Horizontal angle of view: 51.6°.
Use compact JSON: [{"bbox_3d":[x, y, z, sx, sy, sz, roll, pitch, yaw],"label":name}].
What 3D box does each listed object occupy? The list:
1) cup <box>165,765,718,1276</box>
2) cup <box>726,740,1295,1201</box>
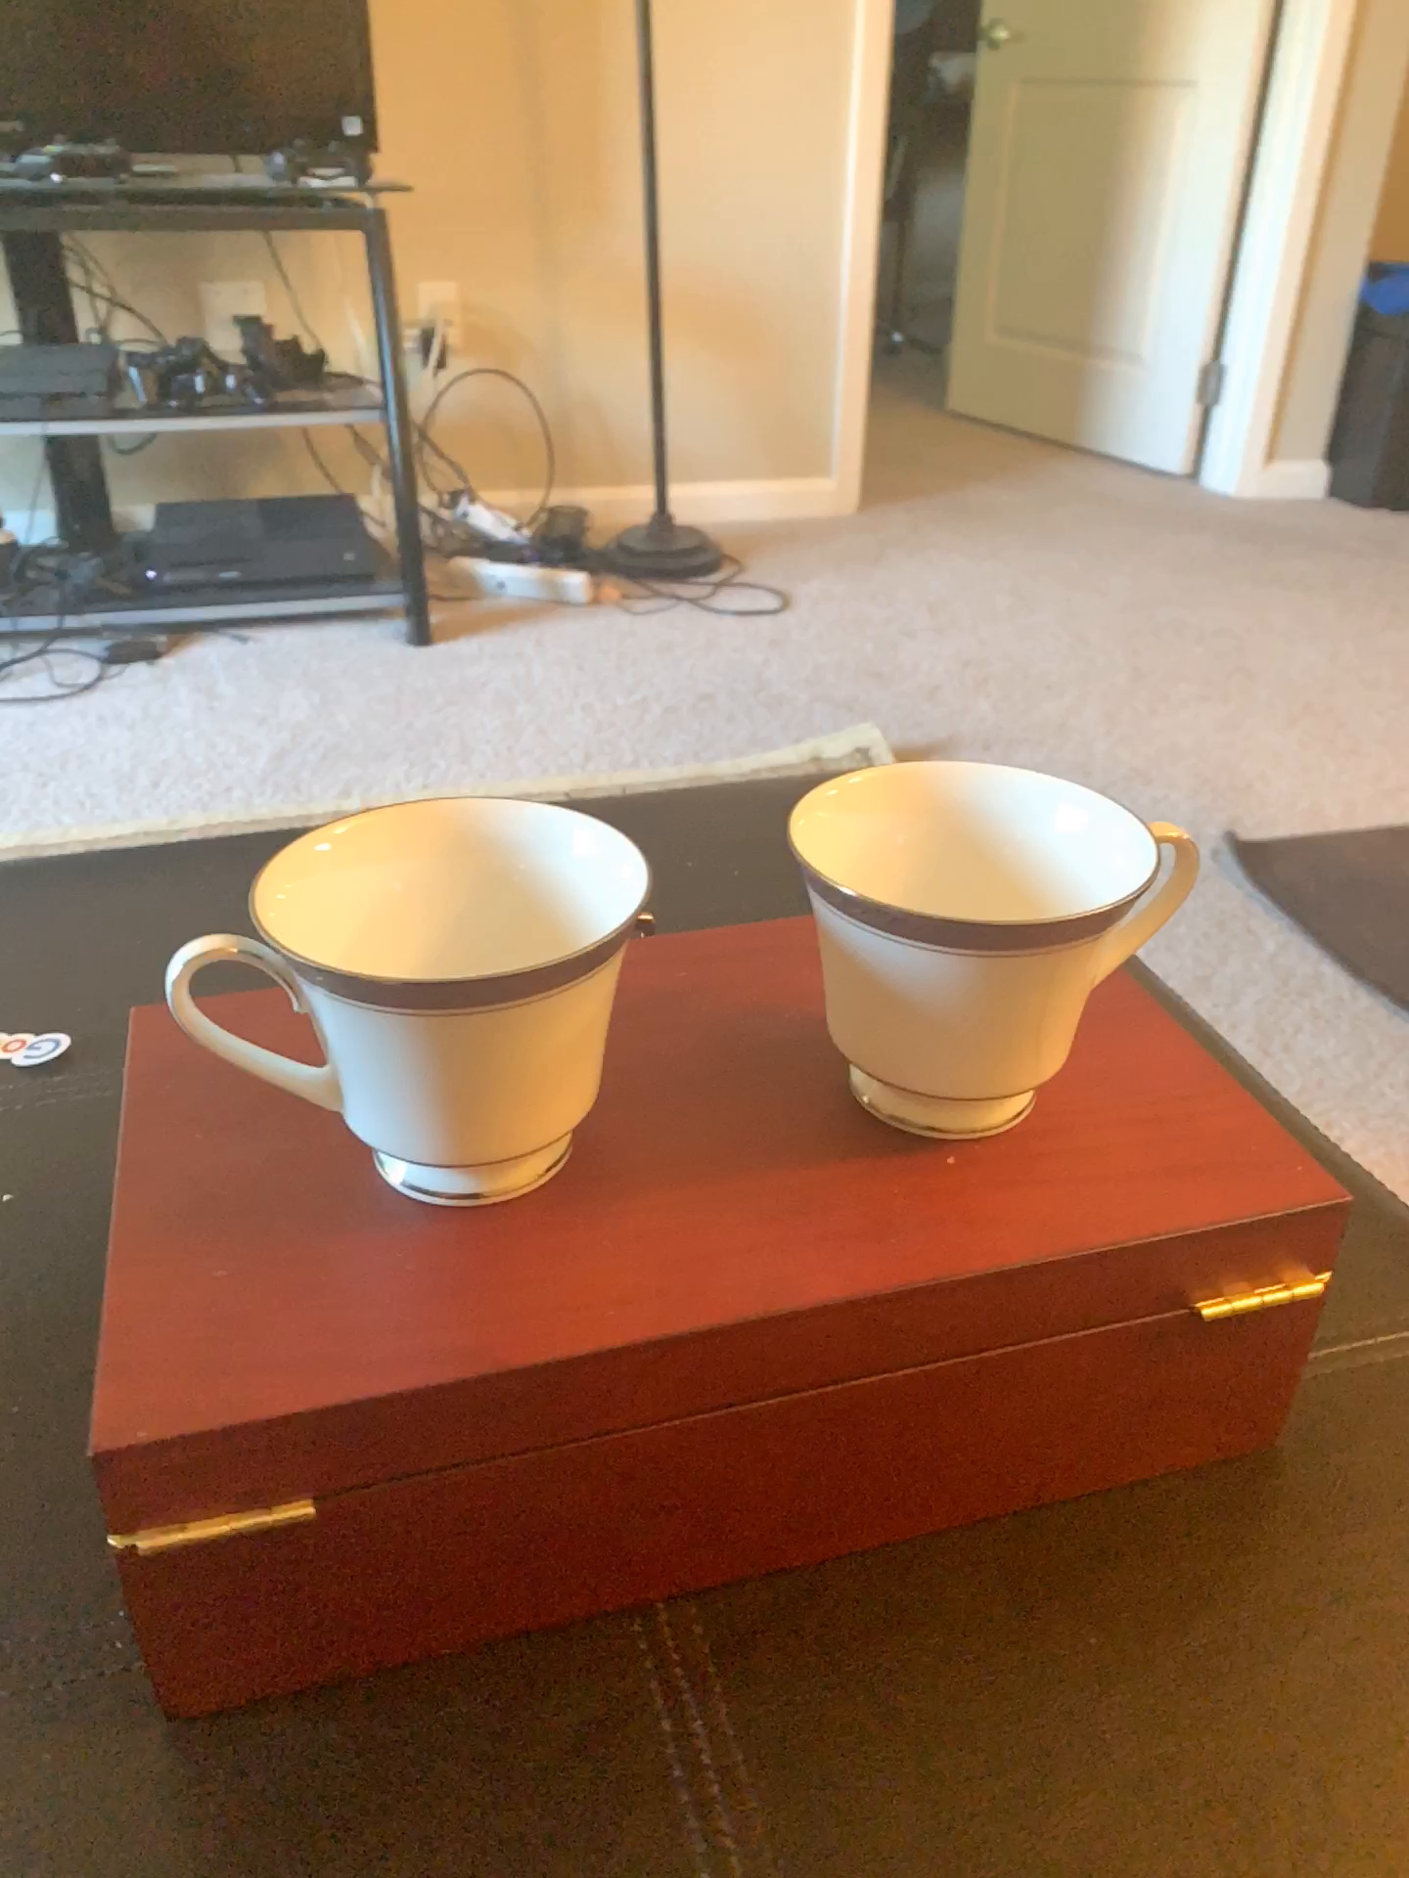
[{"bbox_3d":[-0.062,0.014,0.347,0.110,0.070,0.091,-7,31,-13],"label":"cup"},{"bbox_3d":[0.071,0.003,0.379,0.110,0.070,0.091,-7,31,-13],"label":"cup"}]
